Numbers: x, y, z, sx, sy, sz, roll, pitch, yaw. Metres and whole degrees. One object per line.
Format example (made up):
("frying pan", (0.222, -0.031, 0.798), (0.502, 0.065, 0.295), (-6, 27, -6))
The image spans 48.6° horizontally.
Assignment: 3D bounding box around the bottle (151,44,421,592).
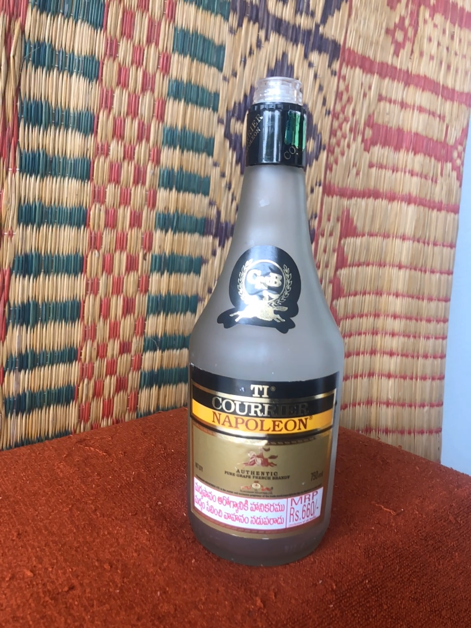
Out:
("bottle", (0.023, 0.002, 0.288), (0.100, 0.249, 0.090), (7, 10, 8))
